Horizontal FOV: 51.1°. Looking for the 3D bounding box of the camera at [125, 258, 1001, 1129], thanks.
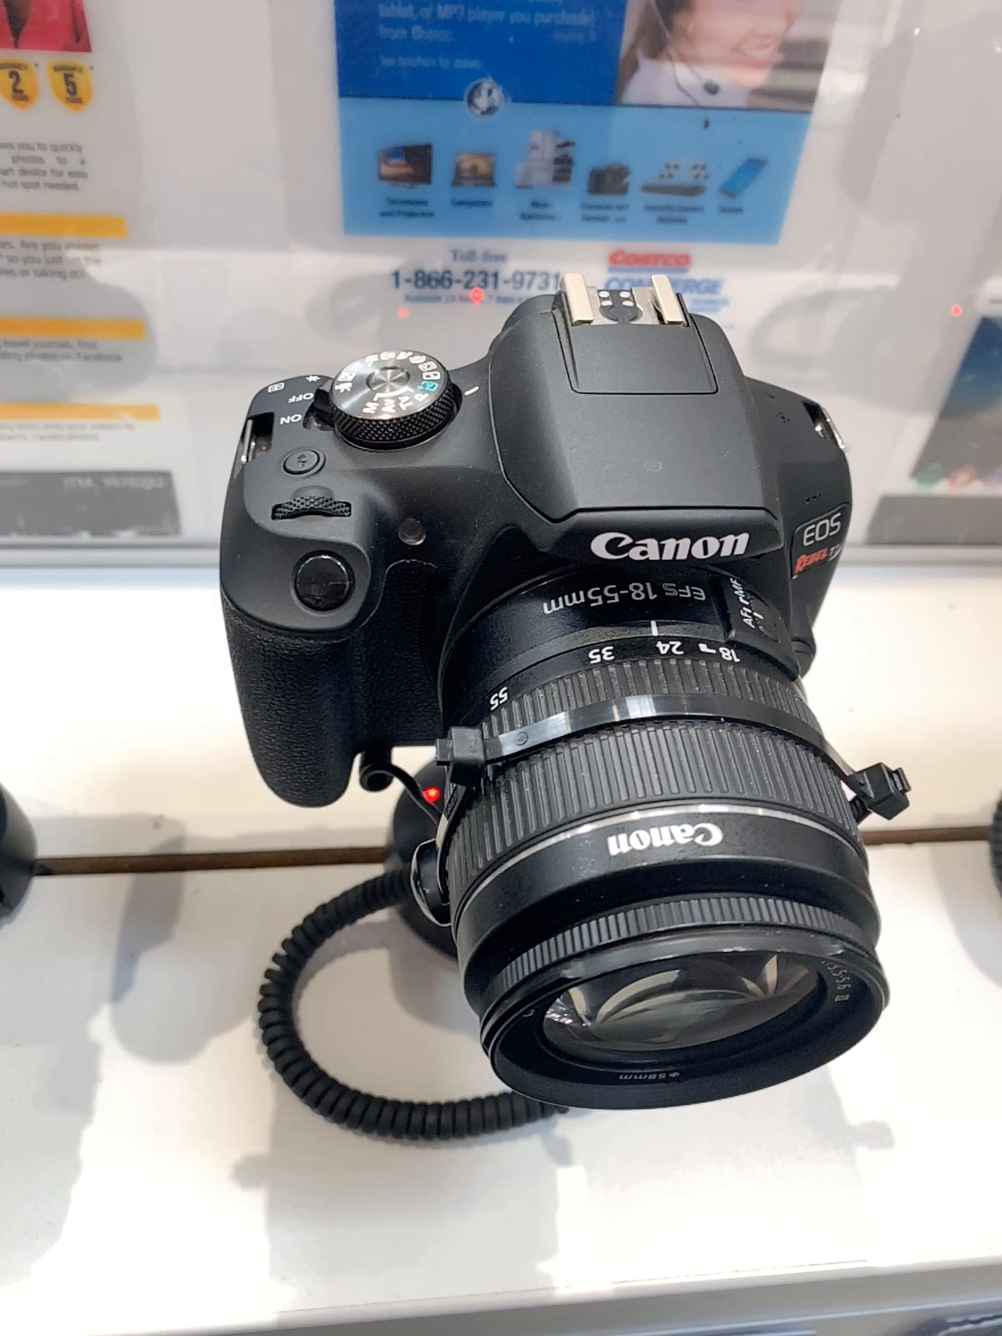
[{"bbox_3d":[0.012,0.003,0.190,0.122,0.104,0.110,-1,47,-8],"label":"camera"}]
